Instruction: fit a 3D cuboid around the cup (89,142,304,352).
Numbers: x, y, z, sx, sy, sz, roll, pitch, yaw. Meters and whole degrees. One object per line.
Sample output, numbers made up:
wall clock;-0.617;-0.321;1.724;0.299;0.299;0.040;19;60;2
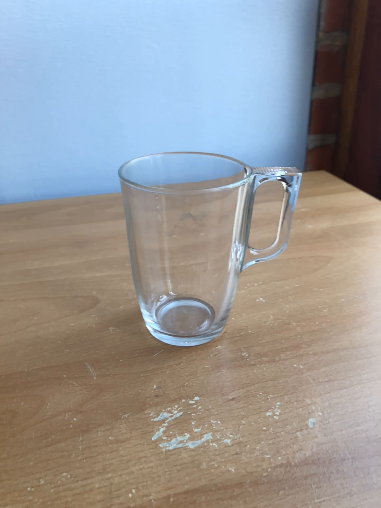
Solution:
cup;0.005;-0.007;0.261;0.103;0.103;0.078;-1;27;2
